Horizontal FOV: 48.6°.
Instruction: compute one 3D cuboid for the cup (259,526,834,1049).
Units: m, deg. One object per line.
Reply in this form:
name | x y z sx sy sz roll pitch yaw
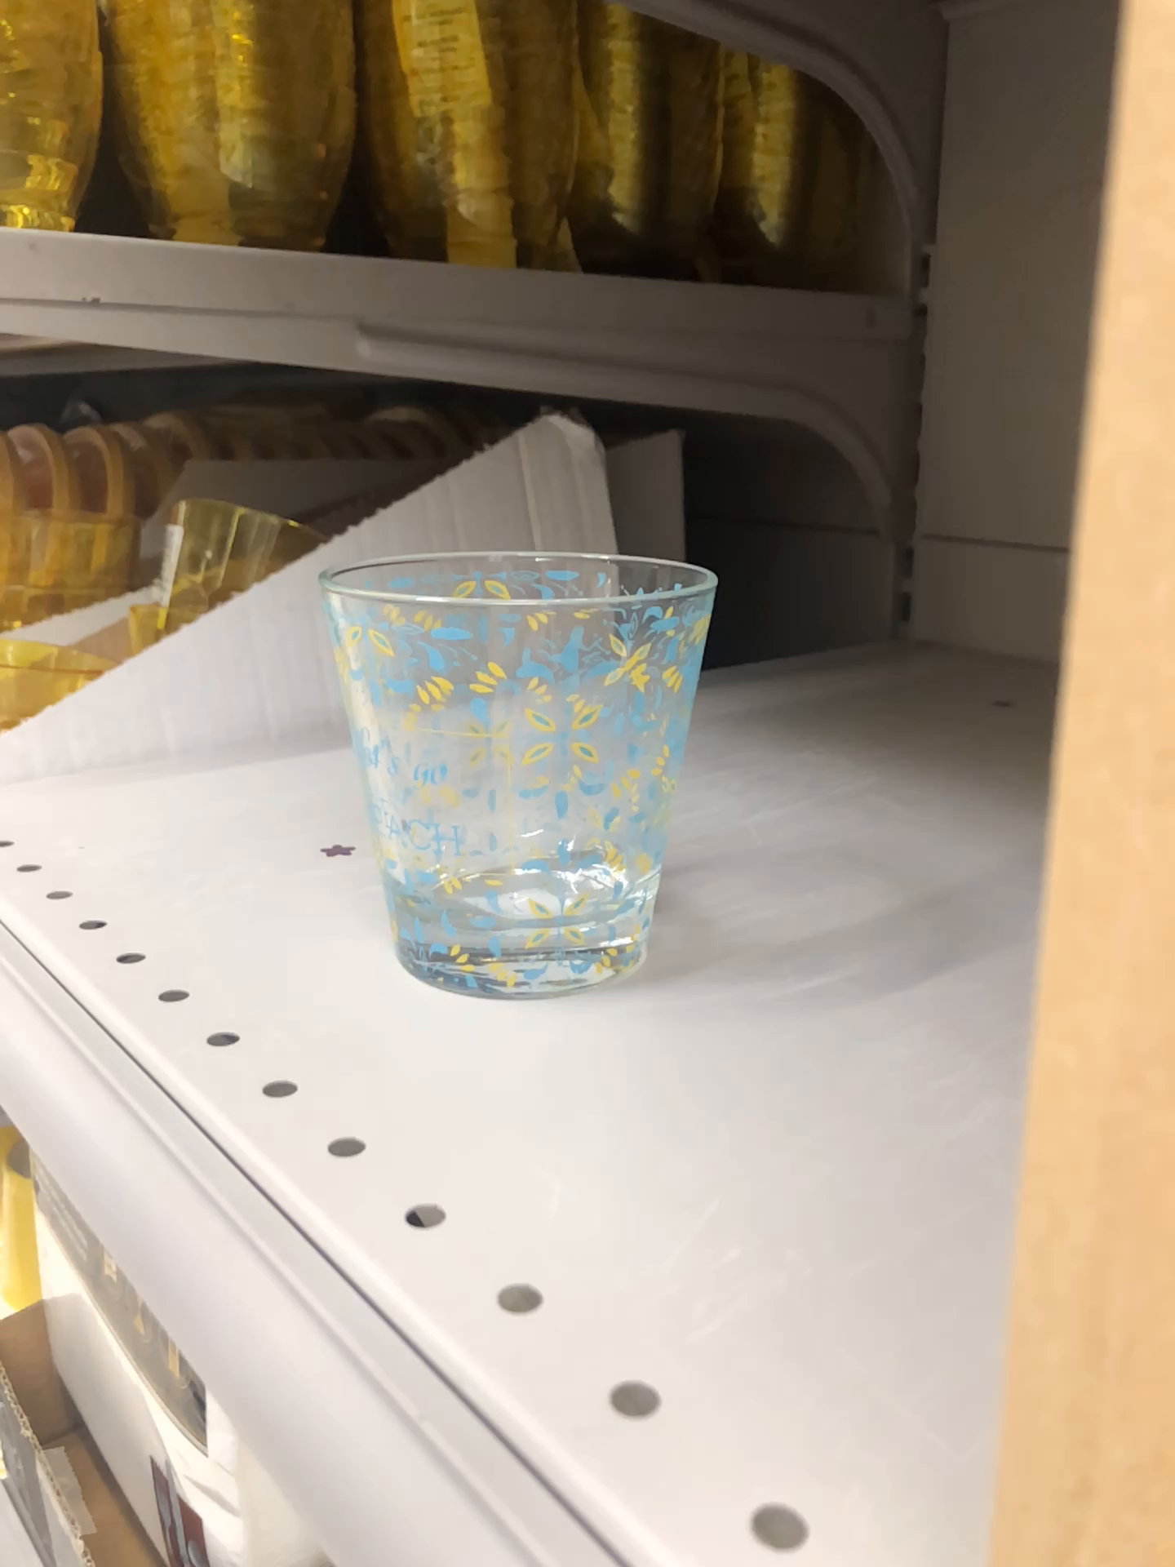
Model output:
cup | -0.008 -0.008 0.287 0.088 0.080 0.084 -1 18 0
